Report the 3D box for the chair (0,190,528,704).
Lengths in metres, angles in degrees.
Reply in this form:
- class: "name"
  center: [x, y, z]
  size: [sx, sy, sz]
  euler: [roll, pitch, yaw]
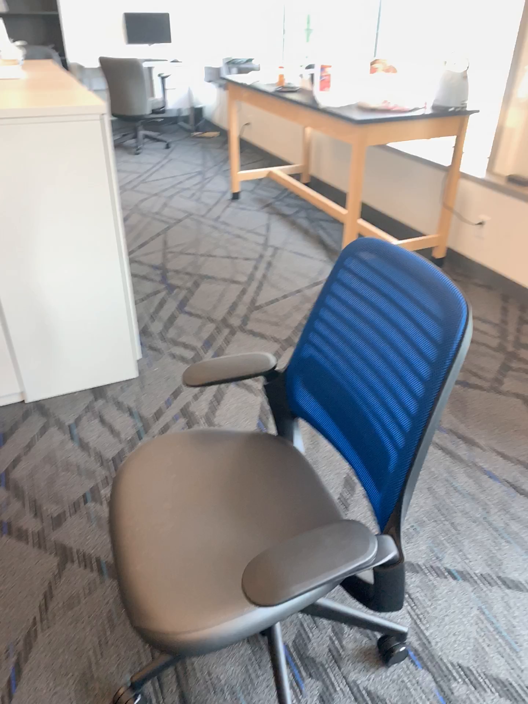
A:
- class: "chair"
  center: [-0.029, 0.266, 1.019]
  size: [0.681, 0.882, 0.705]
  euler: [-13, 35, -20]
